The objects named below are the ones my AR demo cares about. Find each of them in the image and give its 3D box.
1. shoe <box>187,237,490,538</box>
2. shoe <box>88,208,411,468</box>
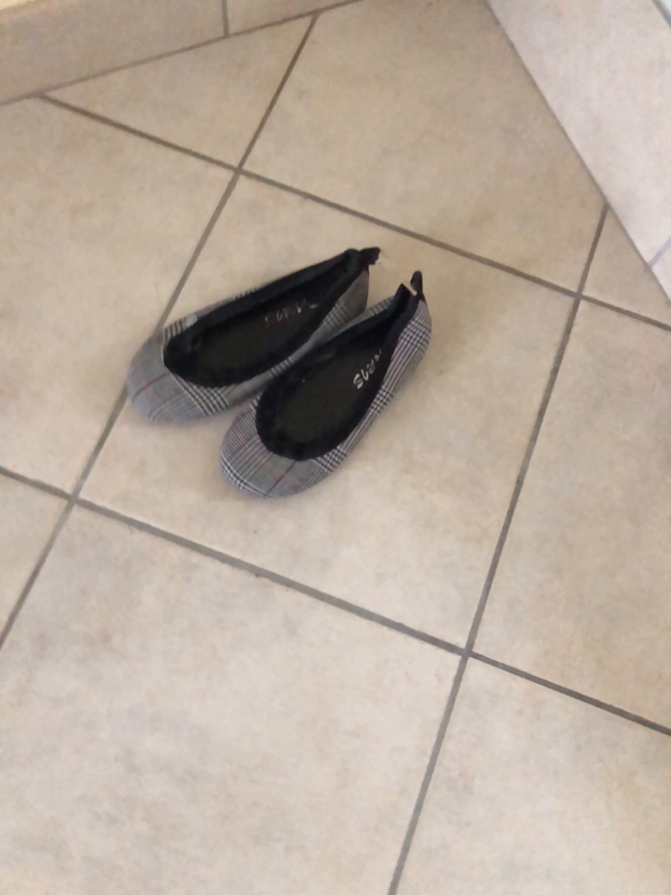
[{"bbox_3d":[0.004,-0.044,0.546,0.090,0.070,0.210,43,75,9],"label":"shoe"},{"bbox_3d":[-0.060,-0.082,0.555,0.210,0.070,0.090,-29,77,-12],"label":"shoe"}]
